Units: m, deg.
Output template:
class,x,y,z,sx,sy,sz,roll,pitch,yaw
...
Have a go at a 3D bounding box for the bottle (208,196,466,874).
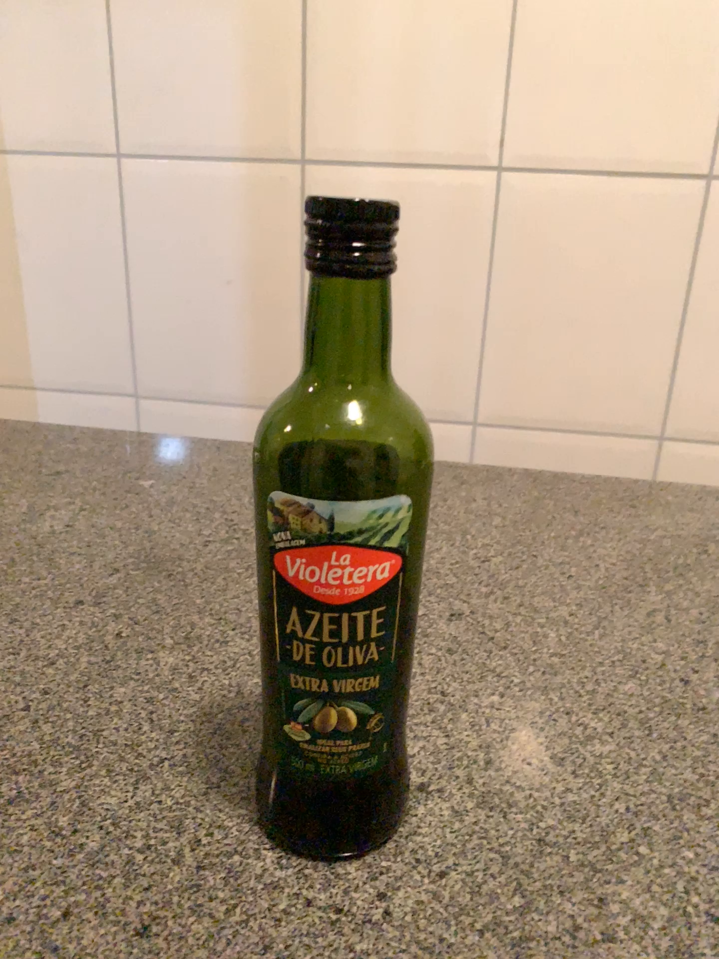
class,x,y,z,sx,sy,sz,roll,pitch,yaw
bottle,-0.011,0.026,0.270,0.070,0.239,0.060,3,20,1
